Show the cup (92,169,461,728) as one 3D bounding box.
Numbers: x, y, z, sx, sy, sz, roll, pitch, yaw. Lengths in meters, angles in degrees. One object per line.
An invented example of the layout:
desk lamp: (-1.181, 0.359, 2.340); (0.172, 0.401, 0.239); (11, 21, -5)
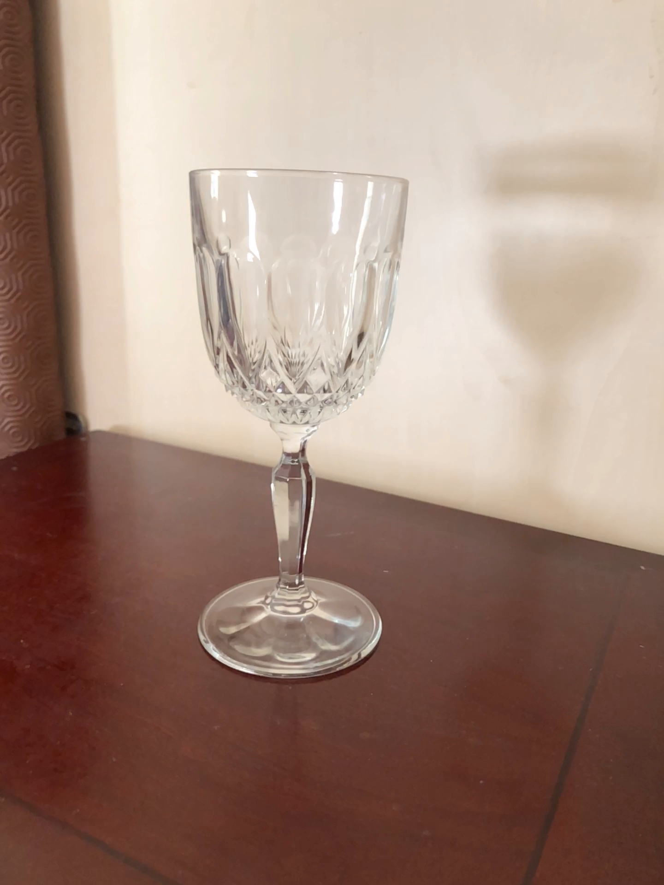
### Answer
cup: (-0.019, -0.008, 0.287); (0.095, 0.179, 0.092); (2, 16, 0)
